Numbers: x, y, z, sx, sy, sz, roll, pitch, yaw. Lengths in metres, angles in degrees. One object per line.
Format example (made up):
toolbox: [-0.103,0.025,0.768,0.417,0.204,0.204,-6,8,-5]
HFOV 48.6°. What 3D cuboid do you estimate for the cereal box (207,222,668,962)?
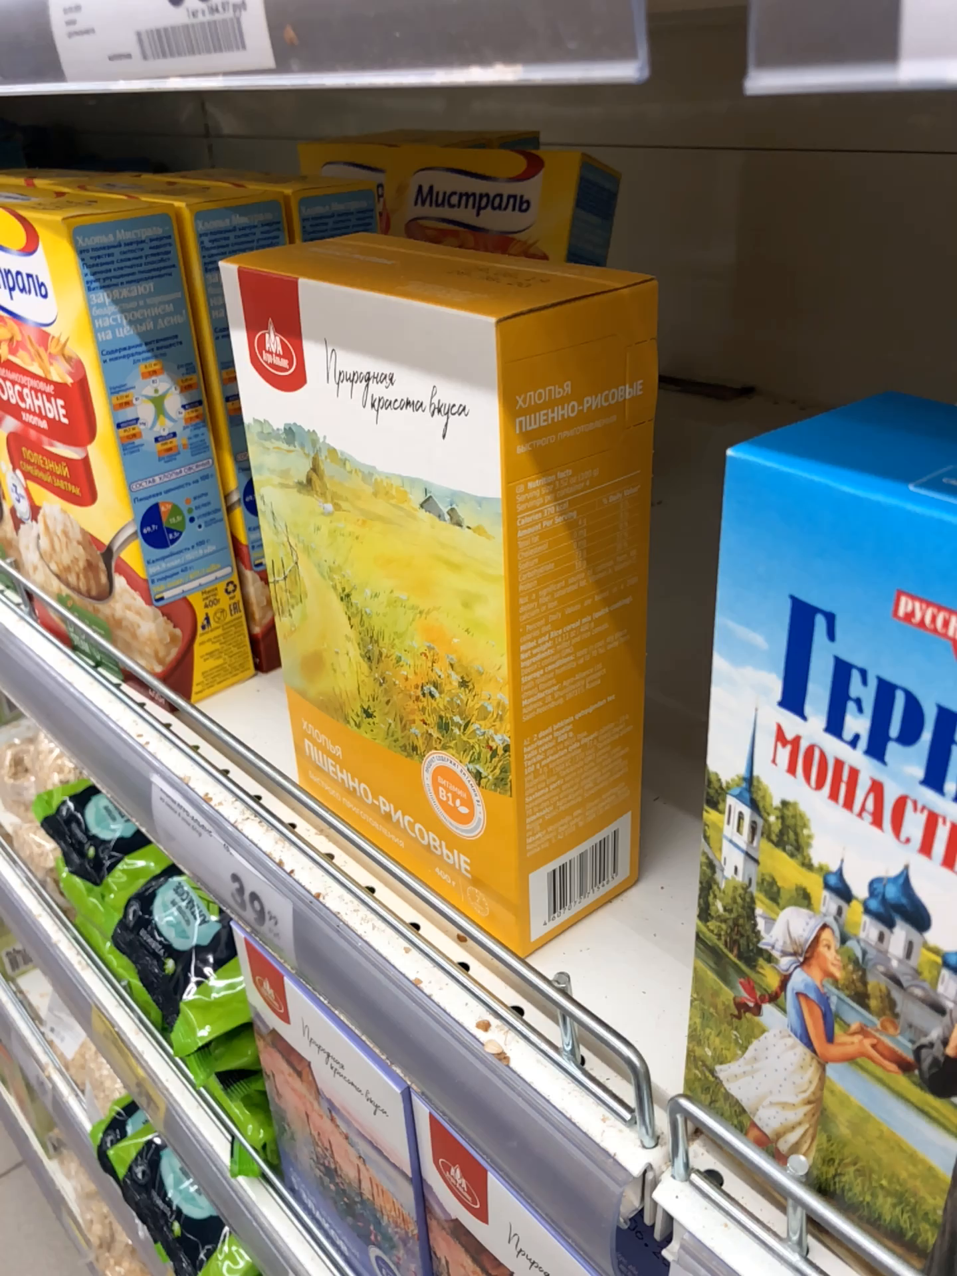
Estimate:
cereal box: [-0.012,-0.020,0.341,0.060,0.199,0.130,-24,34,-34]
